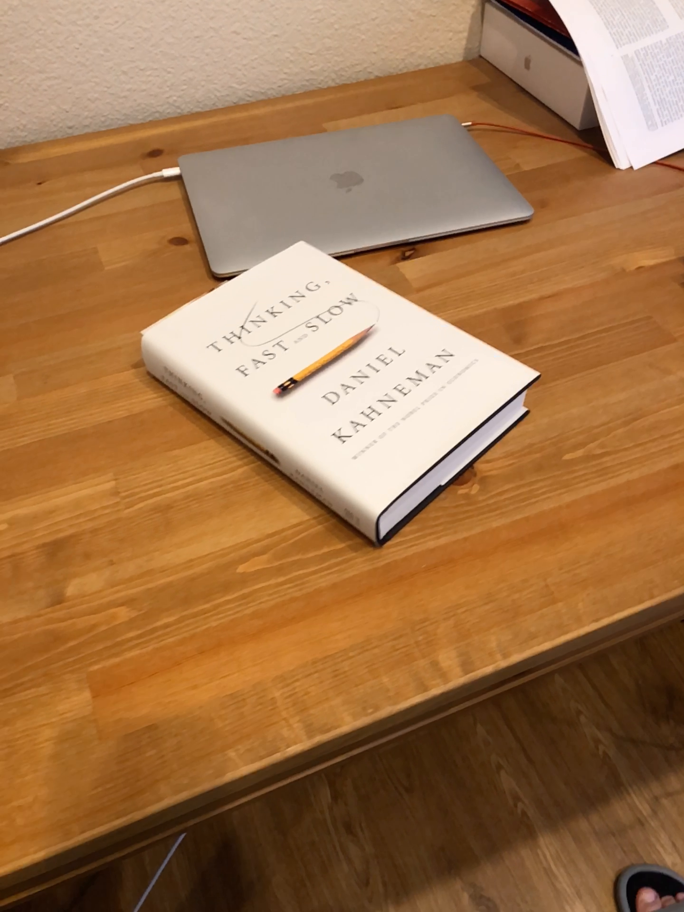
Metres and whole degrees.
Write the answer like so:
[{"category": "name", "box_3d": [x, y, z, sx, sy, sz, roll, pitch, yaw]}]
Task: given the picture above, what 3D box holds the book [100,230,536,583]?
[{"category": "book", "box_3d": [-0.021, -0.054, 0.550, 0.250, 0.060, 0.180, 36, 58, 29]}]
